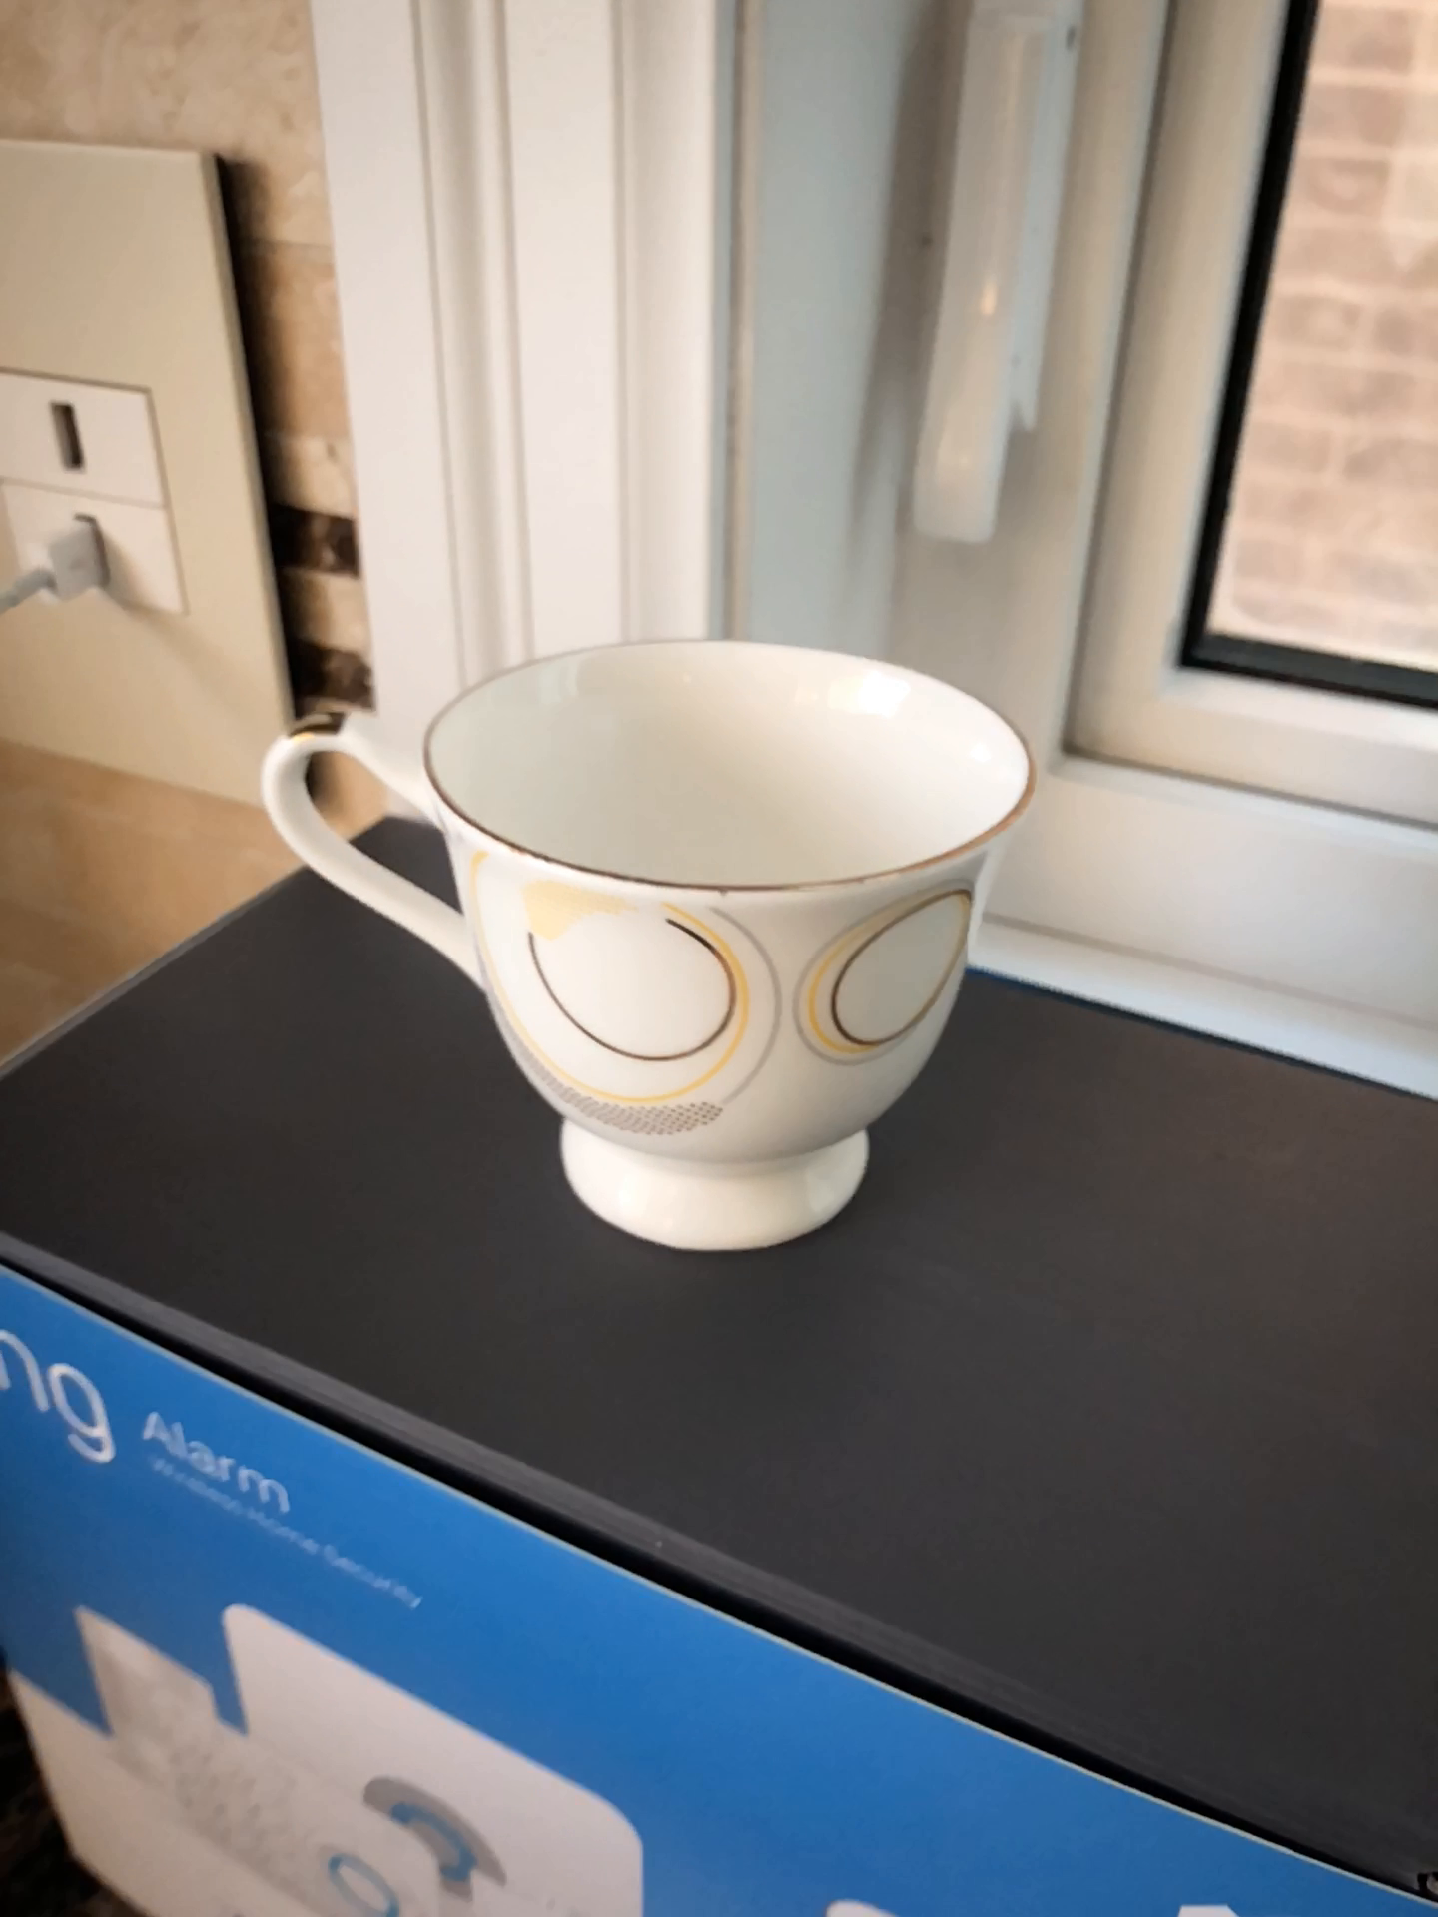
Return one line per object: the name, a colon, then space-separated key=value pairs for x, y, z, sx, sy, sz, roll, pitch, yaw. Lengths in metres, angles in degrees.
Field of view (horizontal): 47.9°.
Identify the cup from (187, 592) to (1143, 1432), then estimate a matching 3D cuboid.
cup: x=-0.003 y=0.000 z=0.225 sx=0.100 sy=0.066 sz=0.077 roll=13 pitch=34 yaw=19
